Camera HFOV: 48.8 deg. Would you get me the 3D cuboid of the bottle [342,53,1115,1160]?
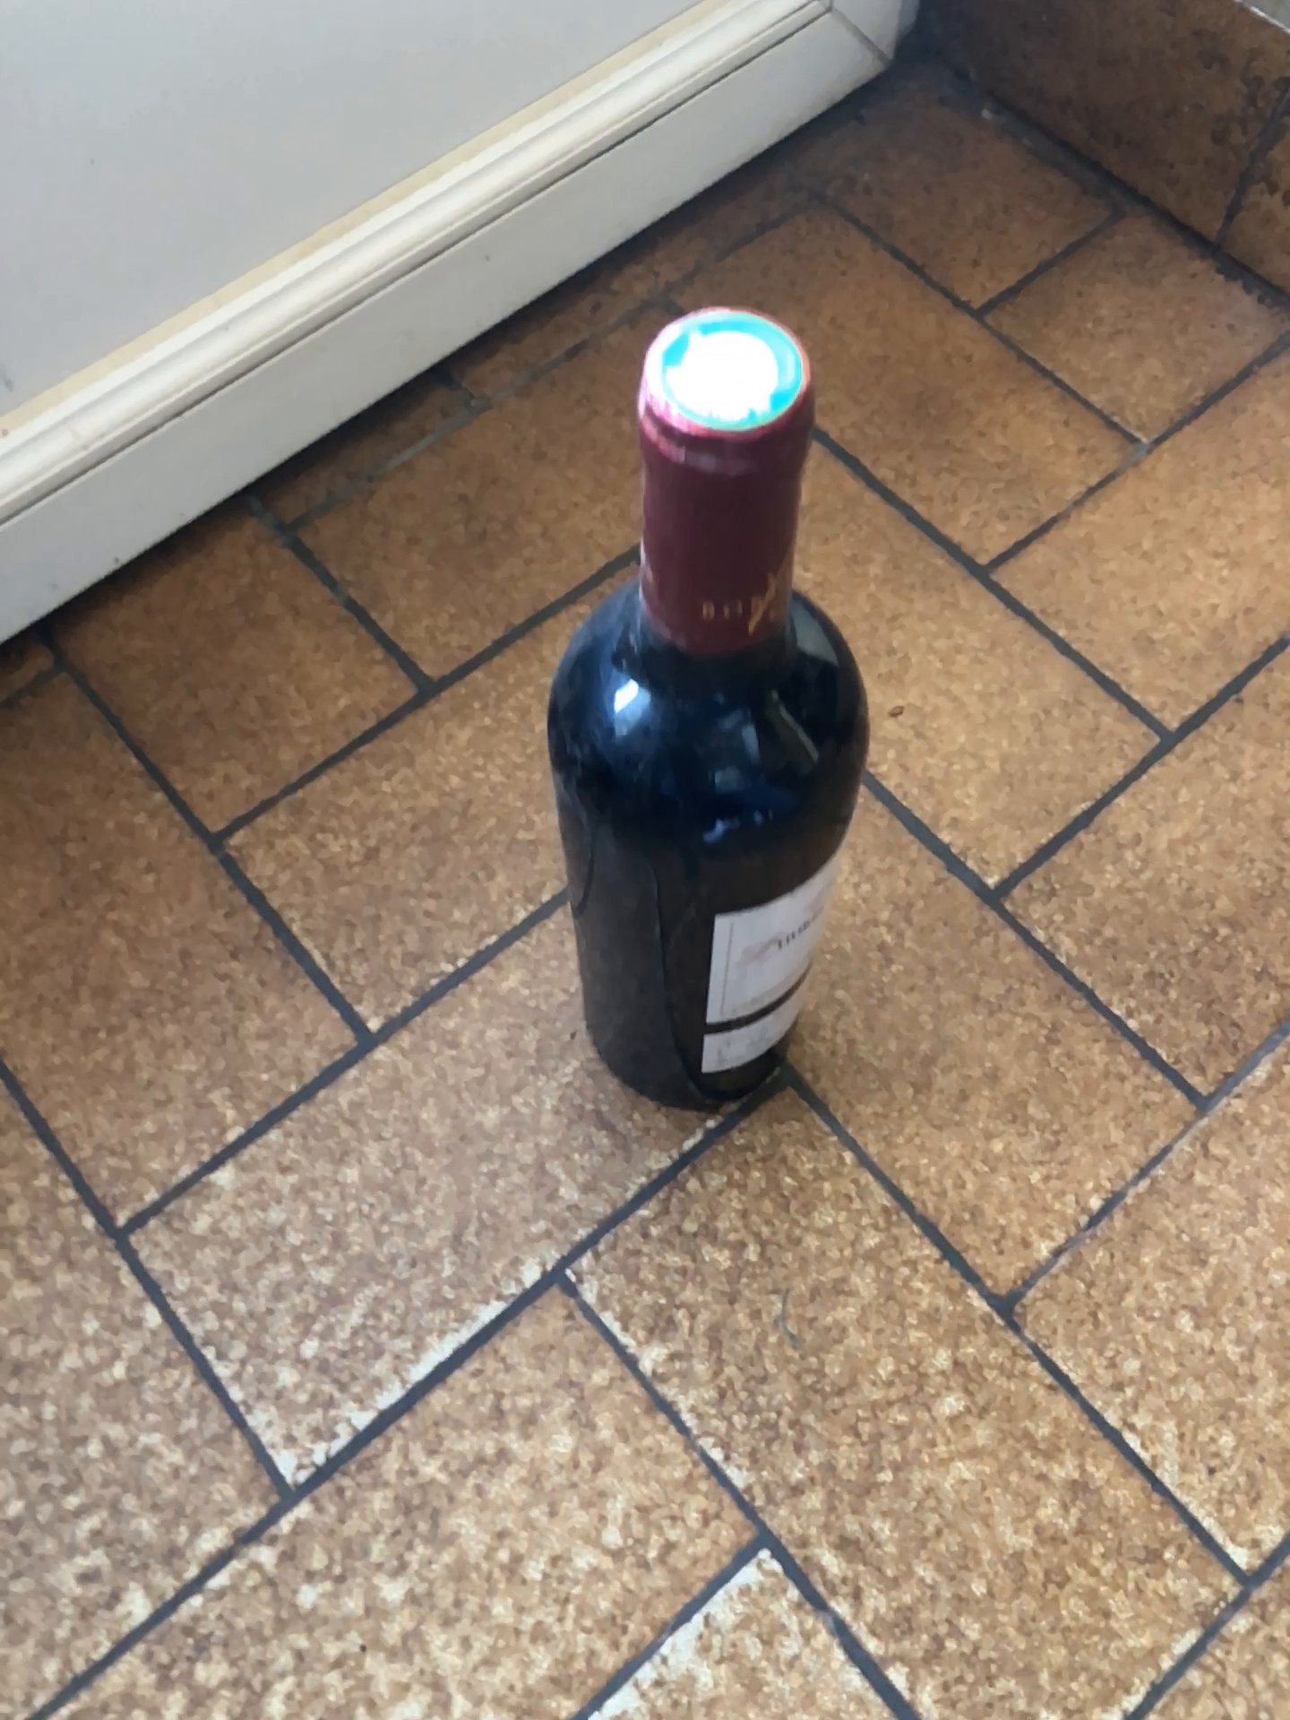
[{"bbox_3d":[0.016,-0.021,0.345,0.090,0.289,0.090,0,64,0],"label":"bottle"}]
